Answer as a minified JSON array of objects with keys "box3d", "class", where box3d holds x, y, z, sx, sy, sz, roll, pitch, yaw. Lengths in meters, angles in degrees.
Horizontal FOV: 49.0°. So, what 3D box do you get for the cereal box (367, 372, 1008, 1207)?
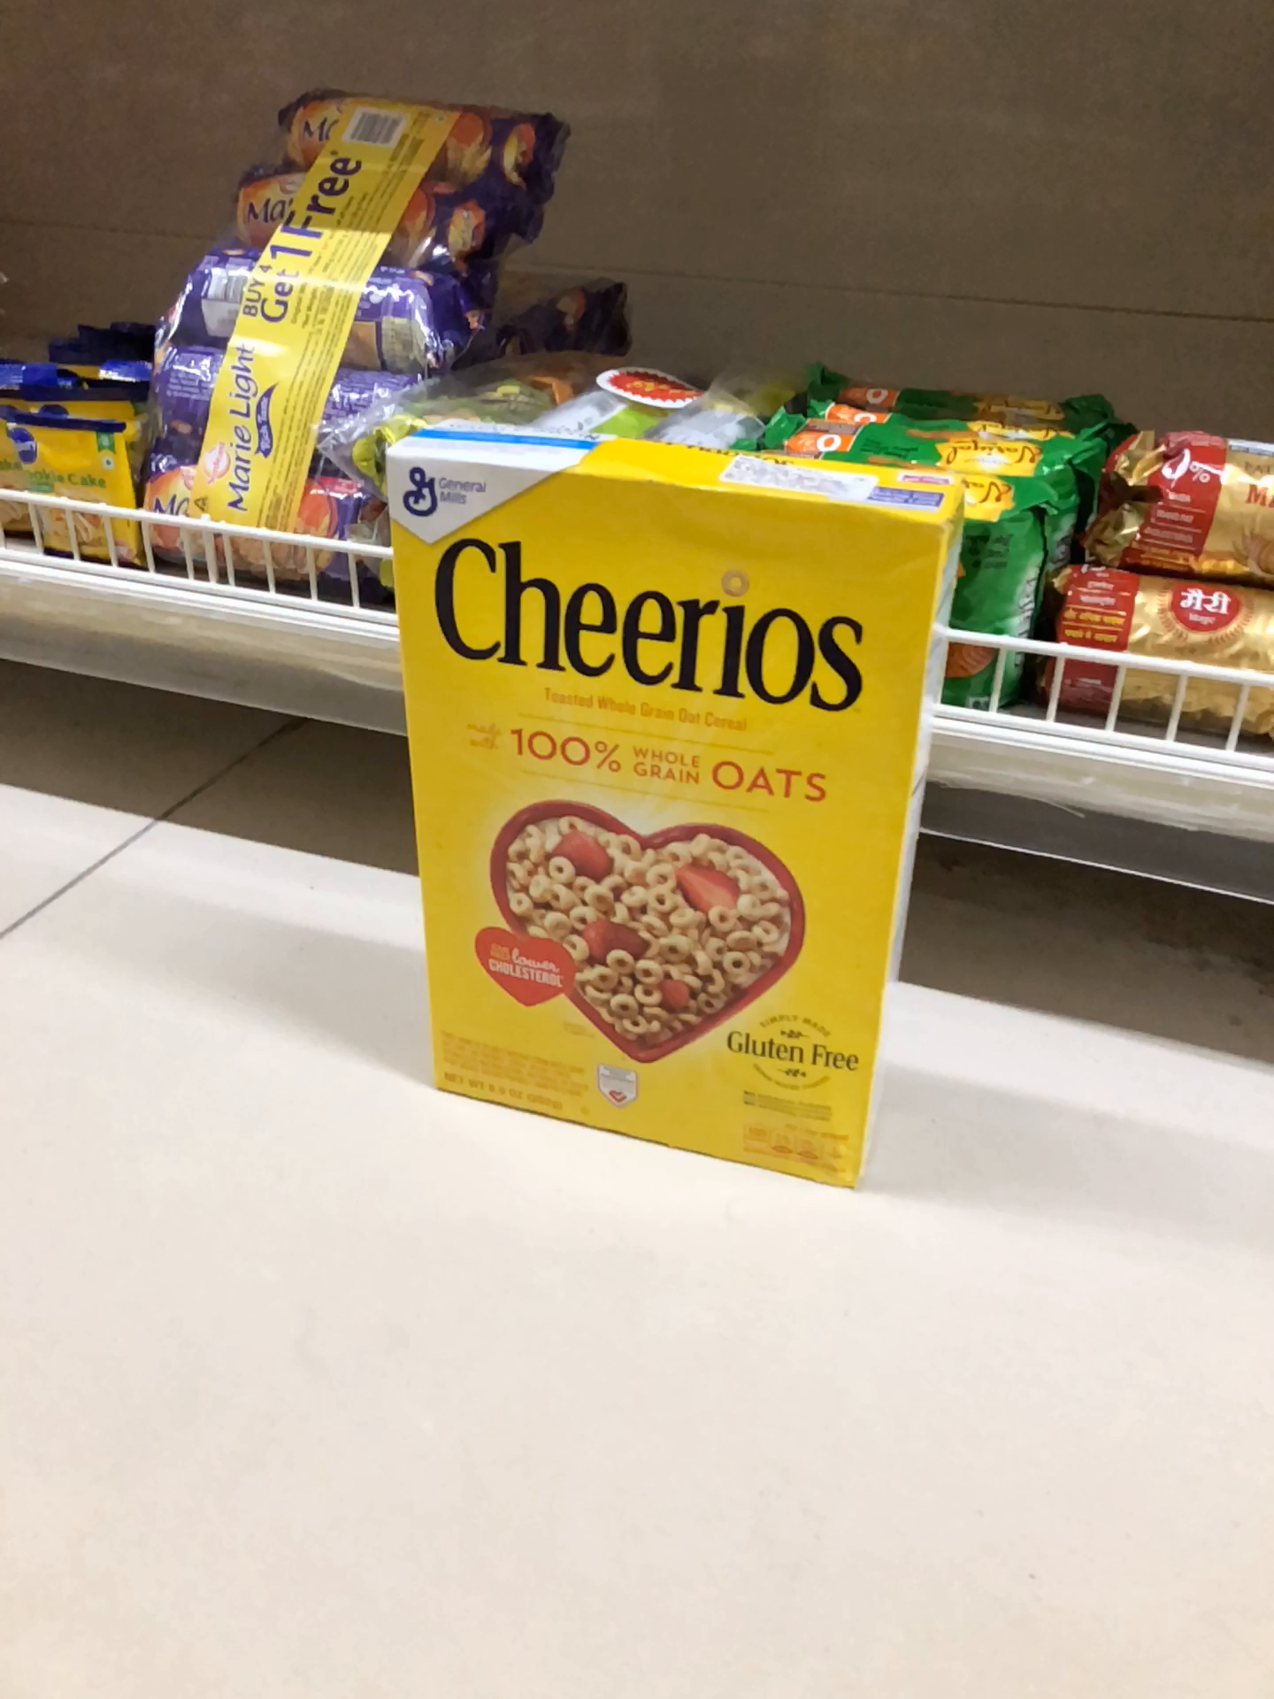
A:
[{"box3d":[0.013,-0.016,0.528,0.200,0.288,0.060,11,32,15],"class":"cereal box"}]
